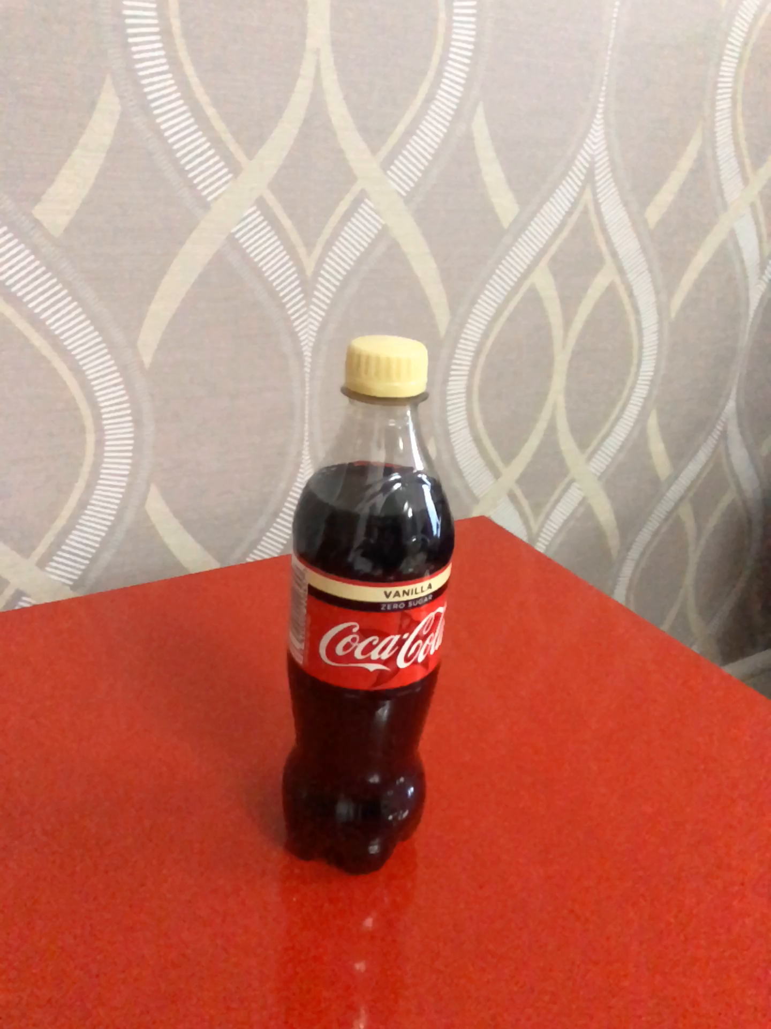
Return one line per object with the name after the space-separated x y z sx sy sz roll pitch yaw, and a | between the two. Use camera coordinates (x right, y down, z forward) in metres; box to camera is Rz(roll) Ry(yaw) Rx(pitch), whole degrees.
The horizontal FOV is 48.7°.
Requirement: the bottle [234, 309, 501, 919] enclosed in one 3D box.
-0.017 0.042 0.363 0.070 0.238 0.080 -9 27 -28 | bottle
